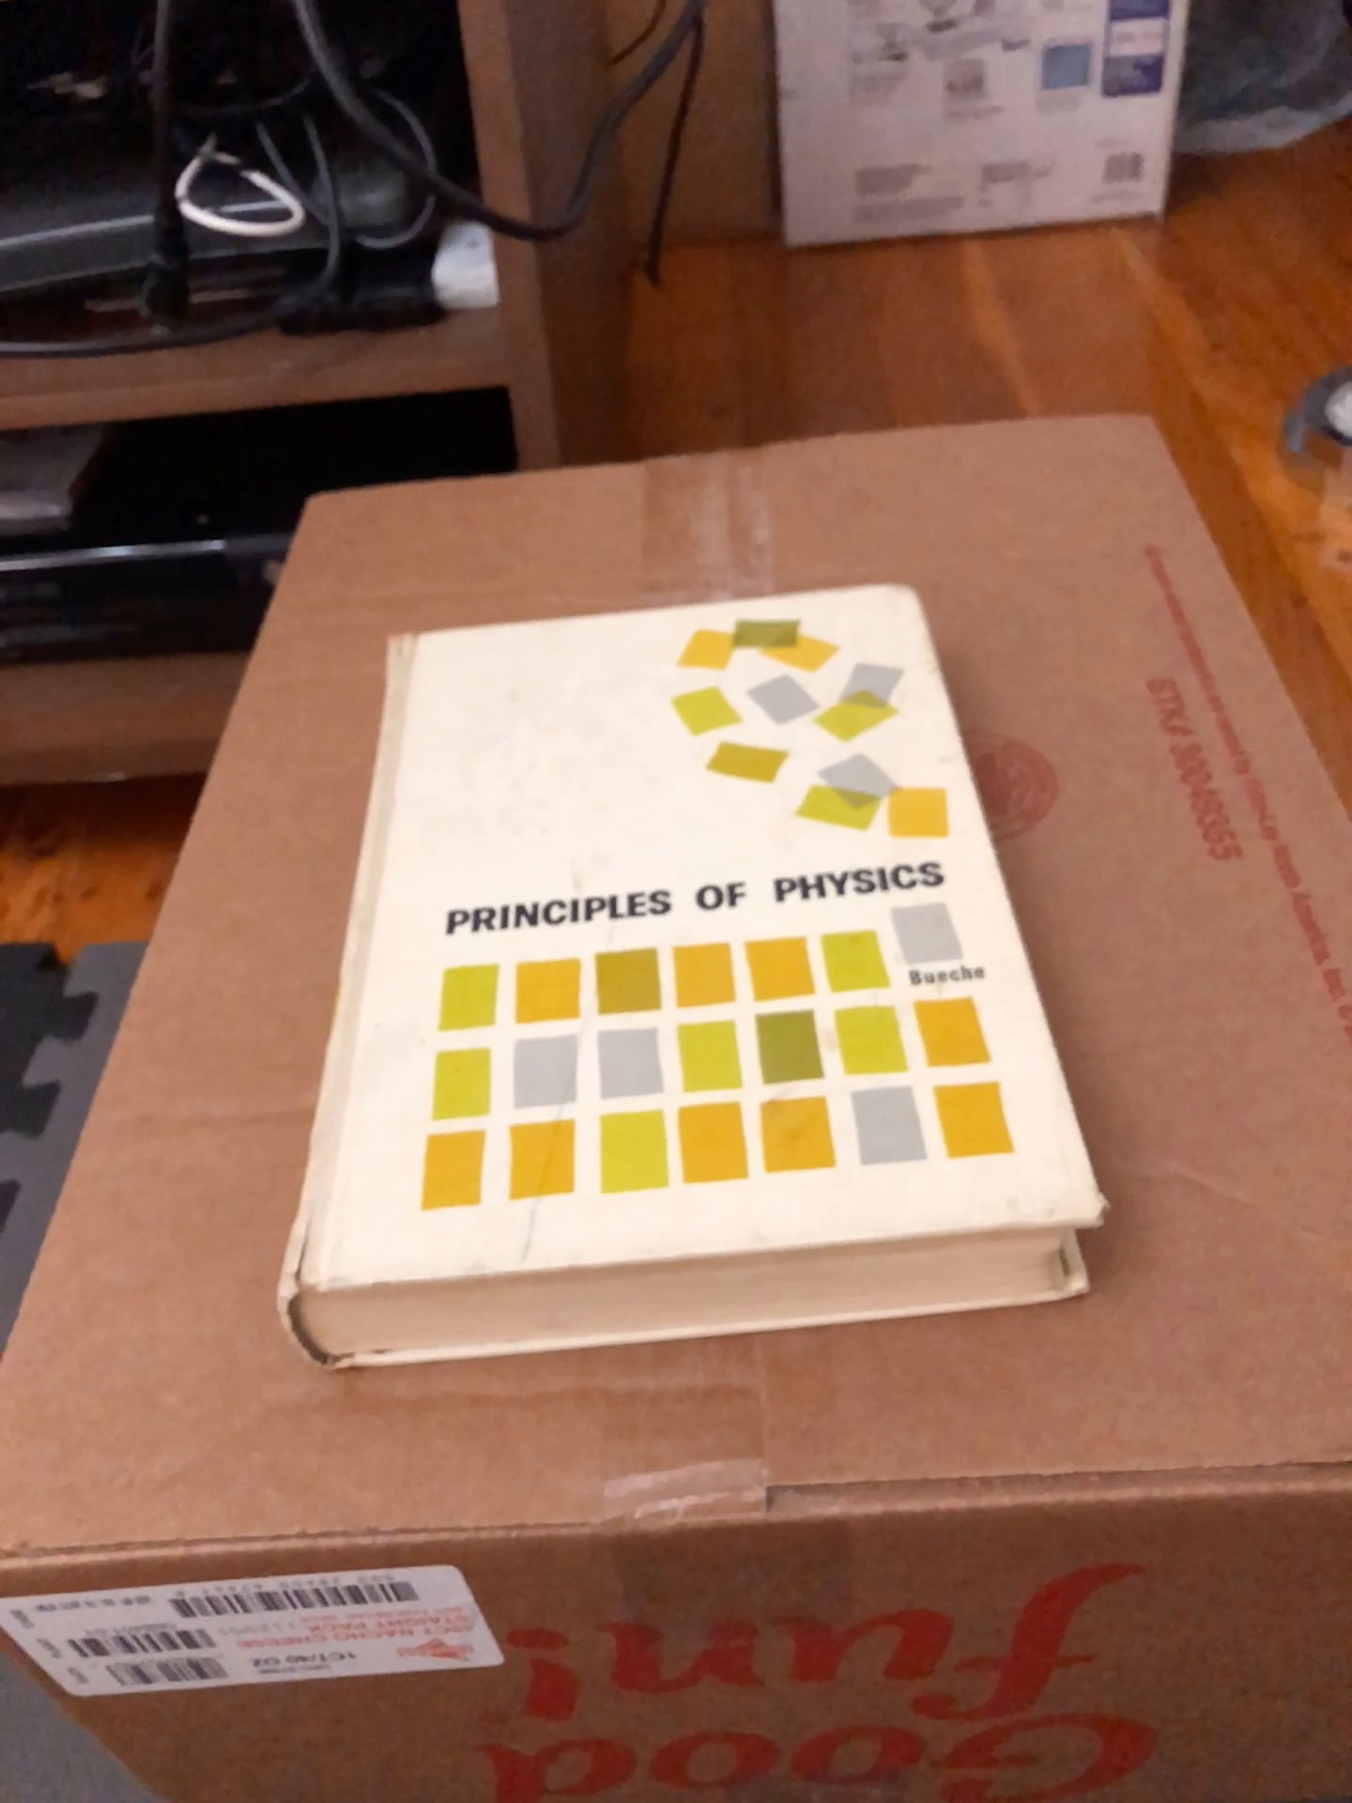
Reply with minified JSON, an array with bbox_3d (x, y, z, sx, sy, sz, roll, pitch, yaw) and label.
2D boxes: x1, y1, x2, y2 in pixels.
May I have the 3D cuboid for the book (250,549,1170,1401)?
[{"bbox_3d":[0.003,-0.001,0.399,0.180,0.040,0.251,-6,43,3],"label":"book"}]
